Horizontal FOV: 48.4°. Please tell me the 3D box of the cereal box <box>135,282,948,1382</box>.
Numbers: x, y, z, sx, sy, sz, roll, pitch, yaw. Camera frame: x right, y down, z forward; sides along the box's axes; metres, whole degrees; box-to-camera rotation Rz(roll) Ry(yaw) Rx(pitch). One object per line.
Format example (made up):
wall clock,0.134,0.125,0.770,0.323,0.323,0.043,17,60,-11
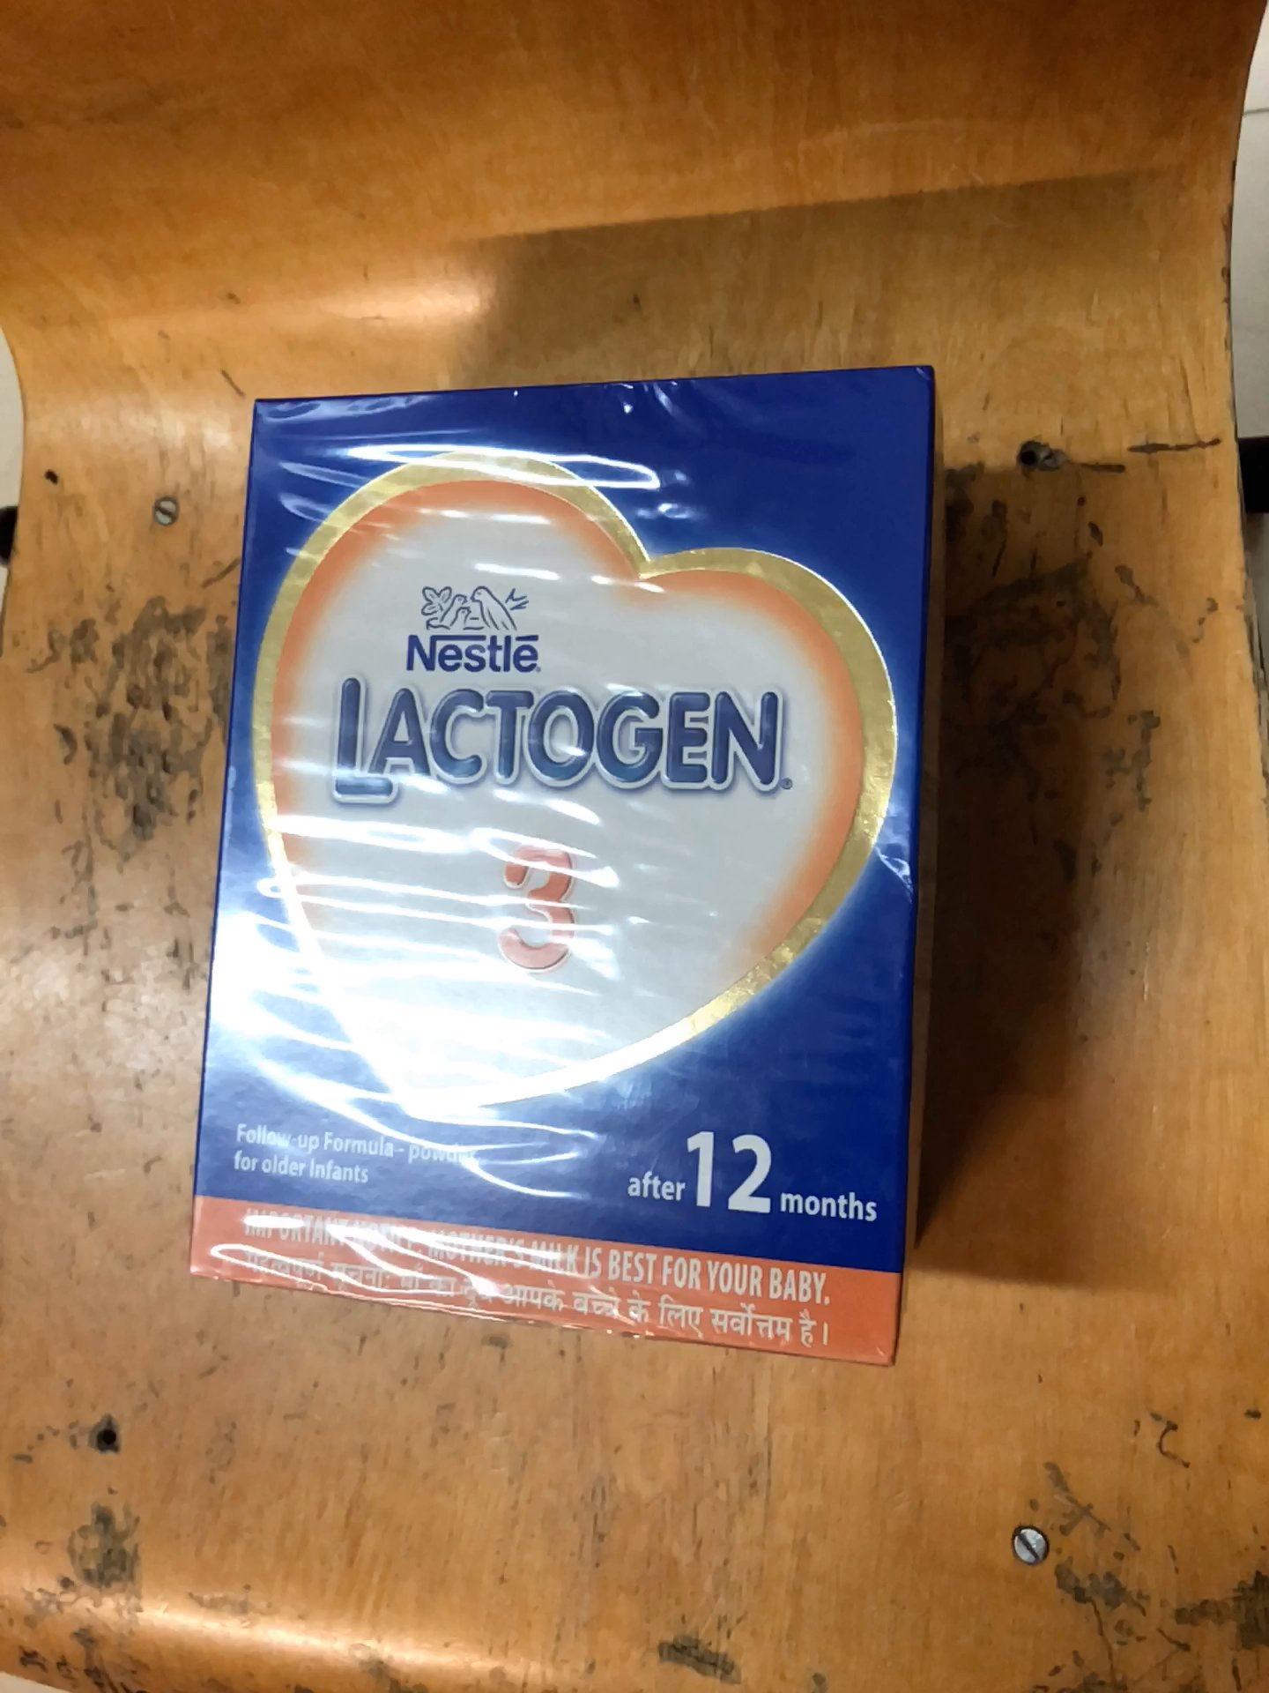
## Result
cereal box,-0.015,-0.006,0.303,0.150,0.060,0.200,3,86,15
